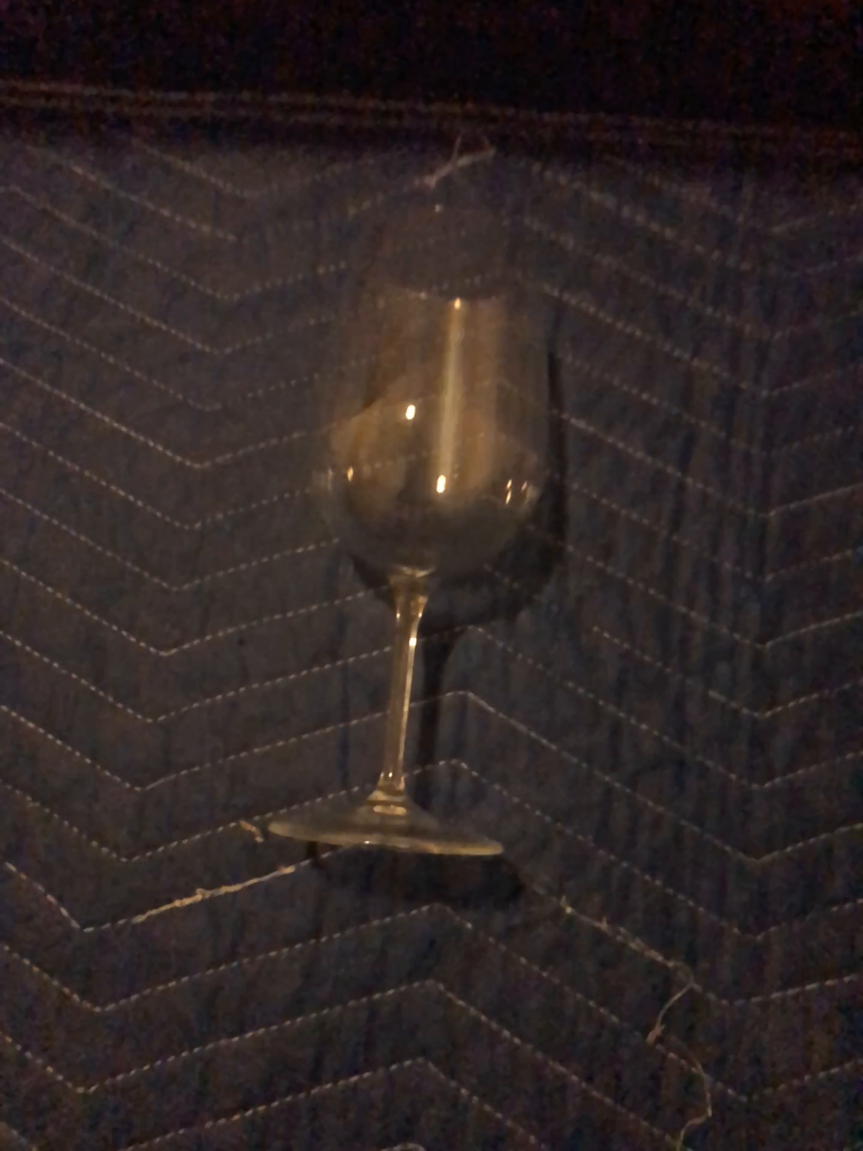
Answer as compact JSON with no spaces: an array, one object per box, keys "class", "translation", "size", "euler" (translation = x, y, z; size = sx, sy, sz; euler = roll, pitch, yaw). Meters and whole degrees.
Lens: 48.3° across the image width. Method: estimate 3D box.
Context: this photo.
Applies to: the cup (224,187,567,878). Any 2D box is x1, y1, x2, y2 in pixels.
[{"class":"cup","translation":[-0.005,-0.012,0.333],"size":[0.080,0.090,0.210],"euler":[5,77,4]}]
